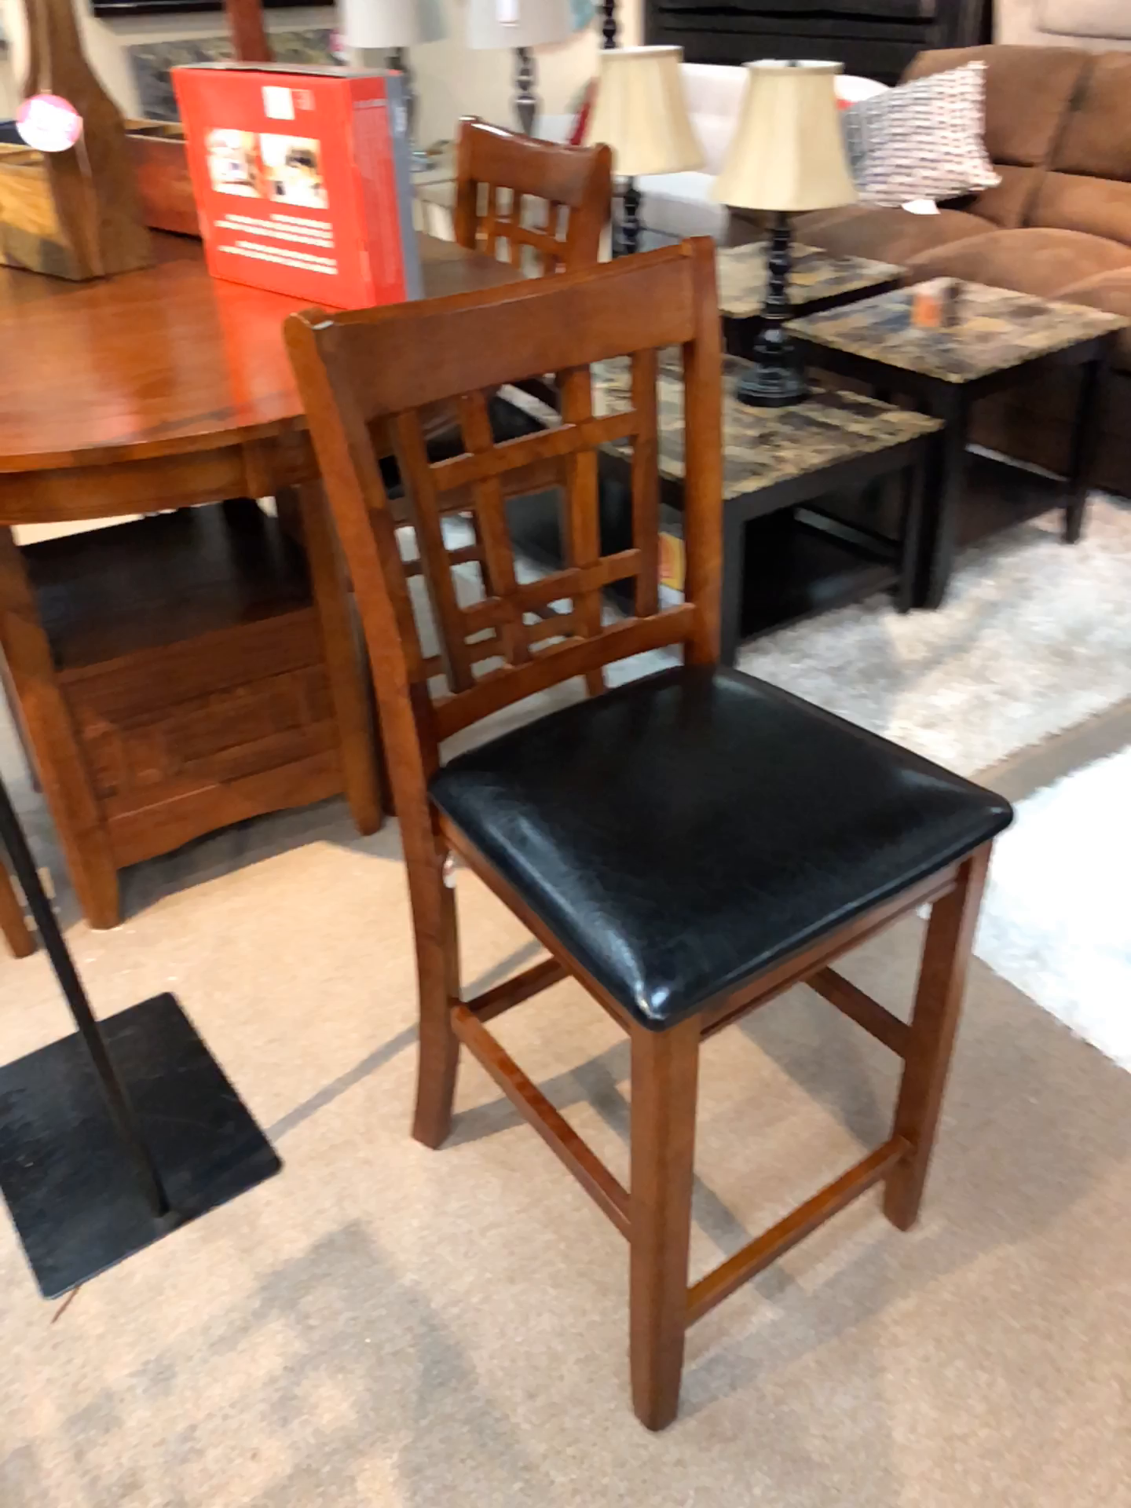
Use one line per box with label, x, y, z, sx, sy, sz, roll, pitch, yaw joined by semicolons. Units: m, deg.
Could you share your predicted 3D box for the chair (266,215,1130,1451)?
chair;0.113;0.060;1.193;0.471;0.963;0.523;-23;38;-29
